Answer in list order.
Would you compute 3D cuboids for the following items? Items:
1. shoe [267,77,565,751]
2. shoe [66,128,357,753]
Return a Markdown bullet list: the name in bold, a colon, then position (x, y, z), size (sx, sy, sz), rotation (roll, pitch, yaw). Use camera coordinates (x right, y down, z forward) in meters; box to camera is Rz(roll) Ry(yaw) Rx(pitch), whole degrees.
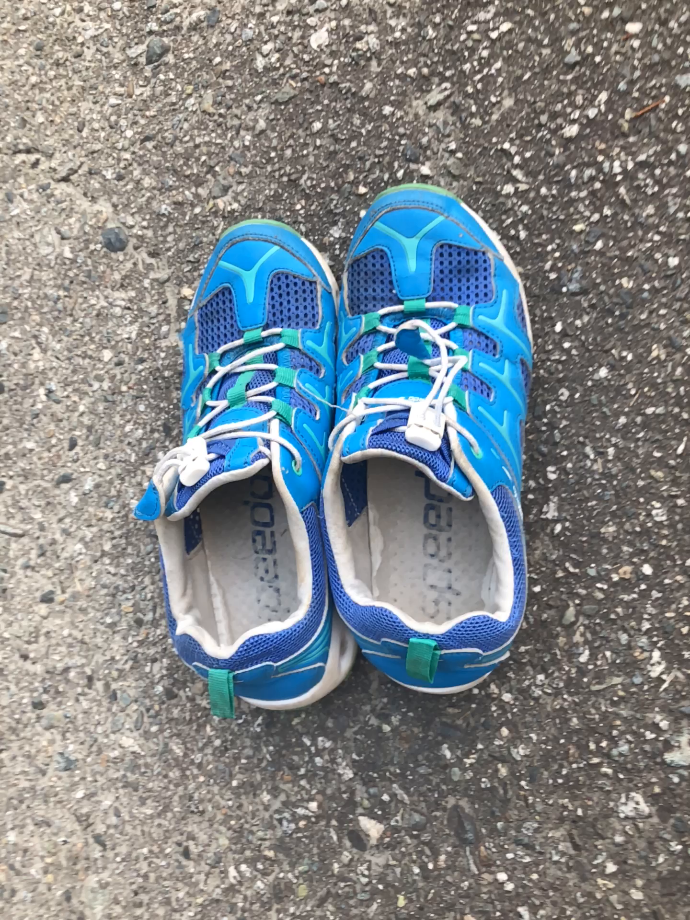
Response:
- **shoe**: position (0.035, -0.015, 0.336), size (0.100, 0.090, 0.250), rotation (-5, 85, 15)
- **shoe**: position (-0.061, -0.006, 0.372), size (0.100, 0.090, 0.260), rotation (-5, 85, 15)
